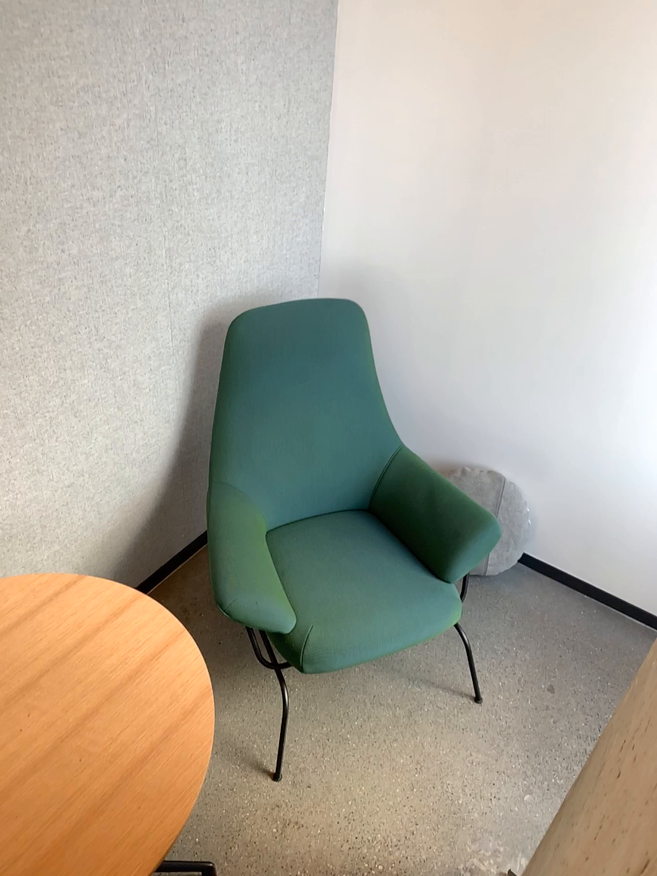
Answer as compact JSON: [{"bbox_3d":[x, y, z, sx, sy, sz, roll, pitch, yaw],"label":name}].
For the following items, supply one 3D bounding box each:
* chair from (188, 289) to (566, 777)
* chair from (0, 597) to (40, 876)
[{"bbox_3d":[0.041,0.233,1.919,0.650,1.014,0.754,-11,38,-21],"label":"chair"},{"bbox_3d":[-1.025,0.960,0.836,0.842,0.994,0.722,26,41,29],"label":"chair"}]
